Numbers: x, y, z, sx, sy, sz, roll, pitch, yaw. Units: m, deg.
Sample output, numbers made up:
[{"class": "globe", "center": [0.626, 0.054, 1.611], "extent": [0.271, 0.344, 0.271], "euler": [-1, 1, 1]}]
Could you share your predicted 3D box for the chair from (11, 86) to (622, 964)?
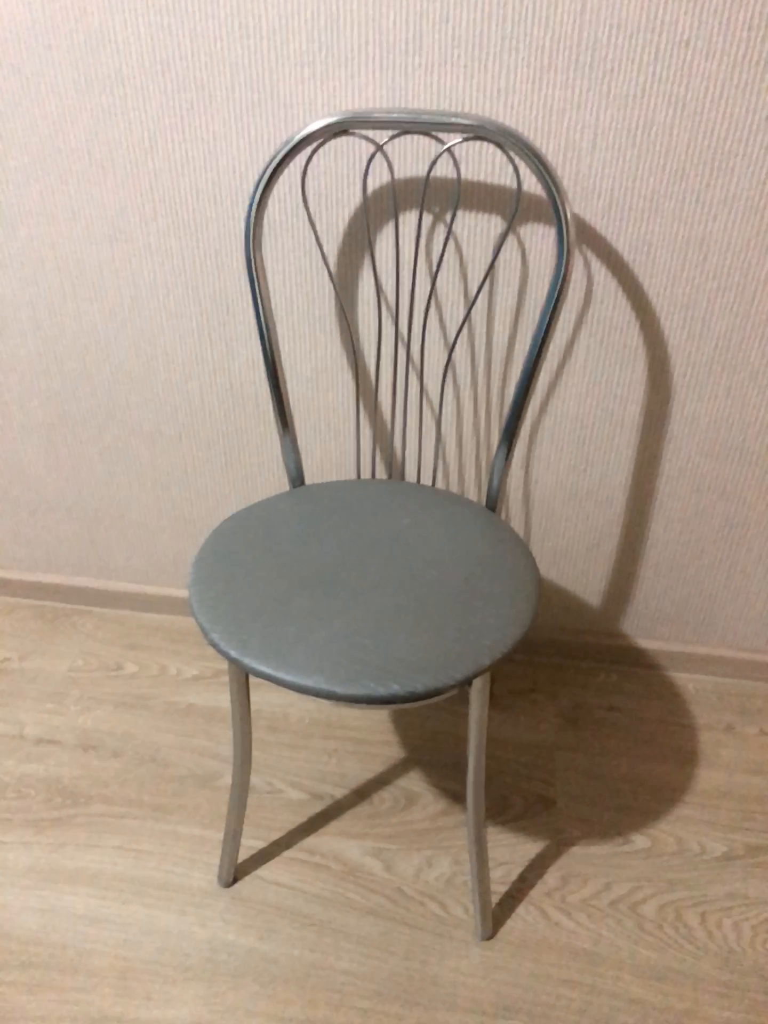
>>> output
[{"class": "chair", "center": [-0.005, 0.020, 0.950], "extent": [0.400, 0.824, 0.473], "euler": [8, 36, 10]}]
